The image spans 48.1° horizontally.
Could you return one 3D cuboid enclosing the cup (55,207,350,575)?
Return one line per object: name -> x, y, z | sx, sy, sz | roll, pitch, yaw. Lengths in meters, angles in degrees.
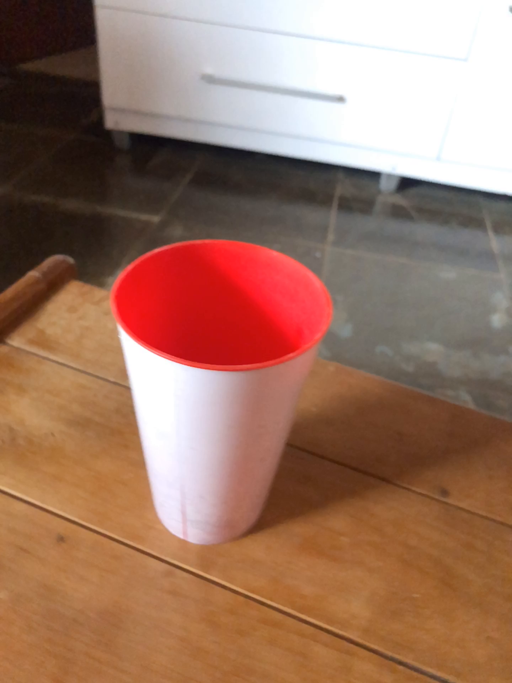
cup -> -0.020, 0.021, 0.275 | 0.090, 0.119, 0.101 | 15, 40, 11
